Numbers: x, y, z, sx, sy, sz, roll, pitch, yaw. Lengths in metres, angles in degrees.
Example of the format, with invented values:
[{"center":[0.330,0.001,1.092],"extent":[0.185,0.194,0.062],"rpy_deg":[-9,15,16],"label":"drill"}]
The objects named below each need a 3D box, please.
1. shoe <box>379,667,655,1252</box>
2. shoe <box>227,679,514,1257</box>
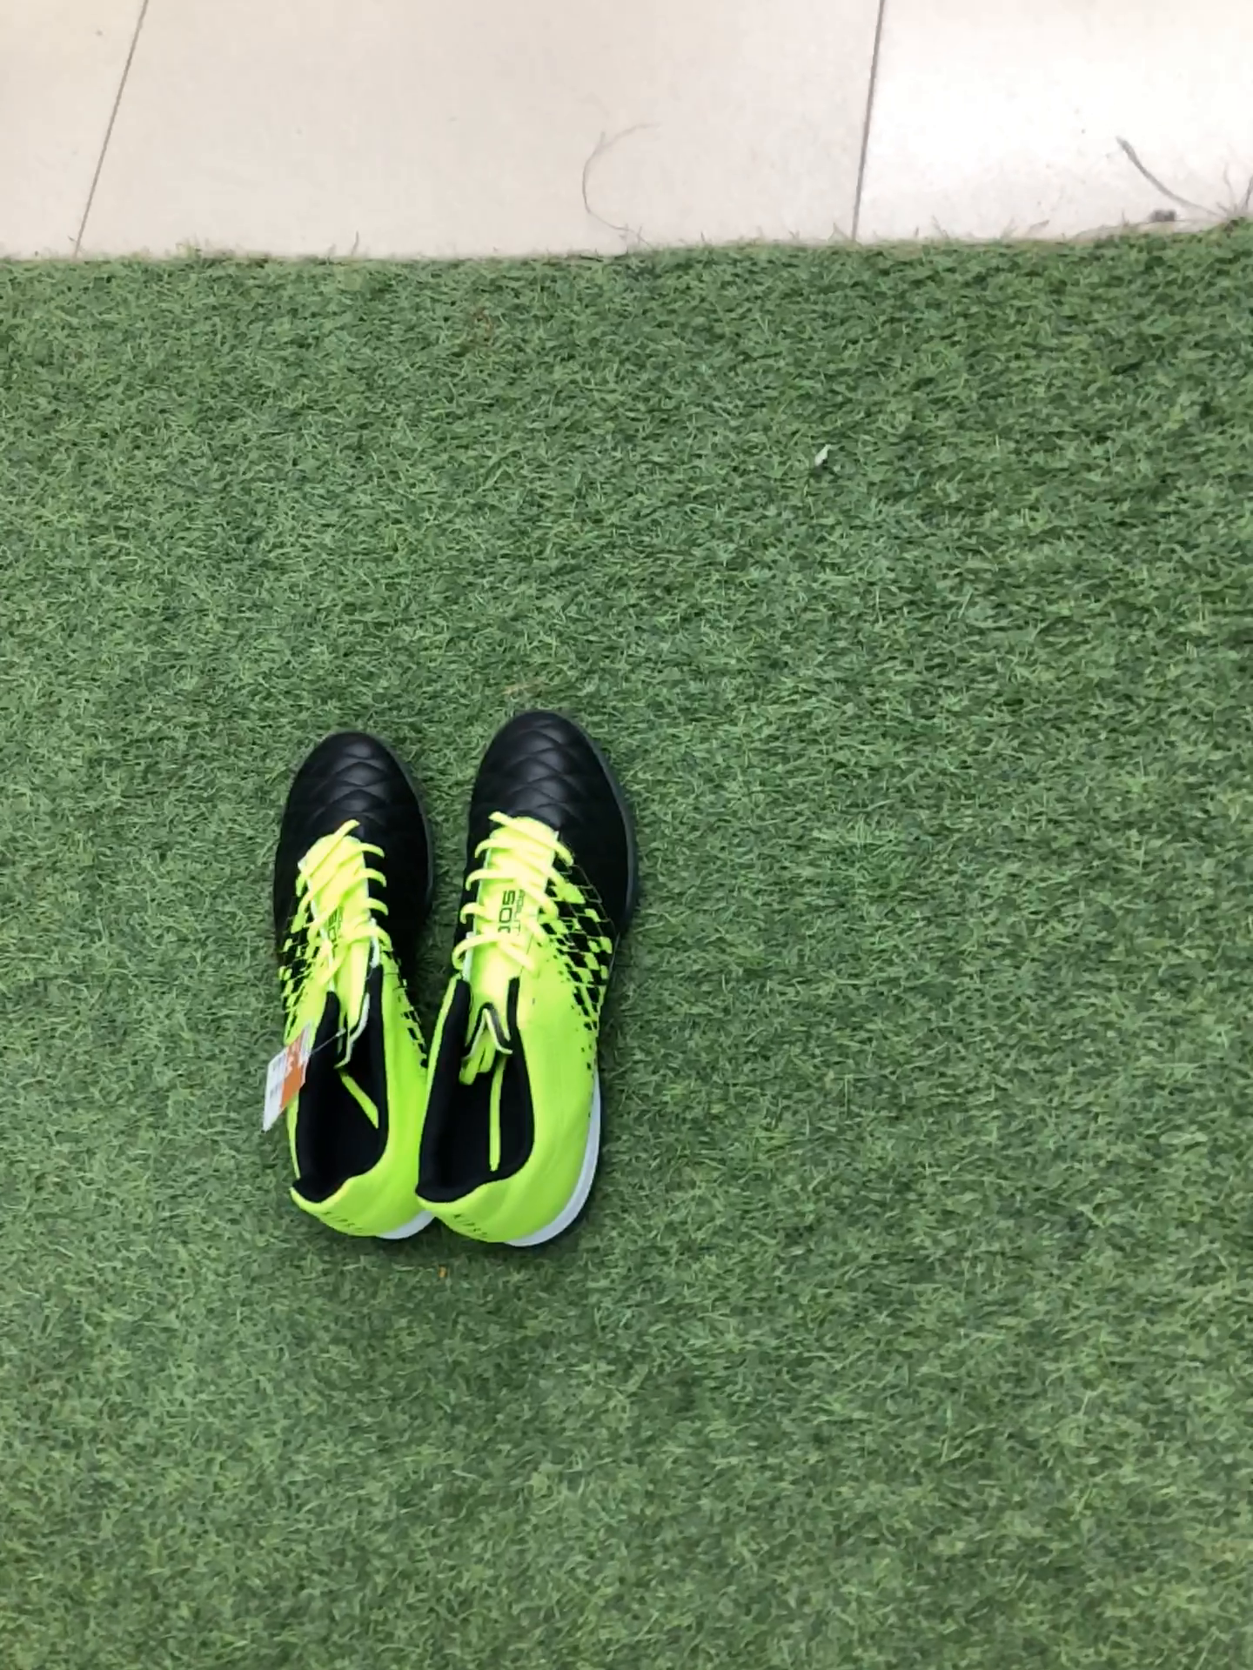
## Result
[{"center":[-0.050,0.065,0.703],"extent":[0.100,0.090,0.280],"rpy_deg":[-3,73,16],"label":"shoe"},{"center":[-0.138,0.072,0.733],"extent":[0.100,0.090,0.281],"rpy_deg":[-13,71,13],"label":"shoe"}]
